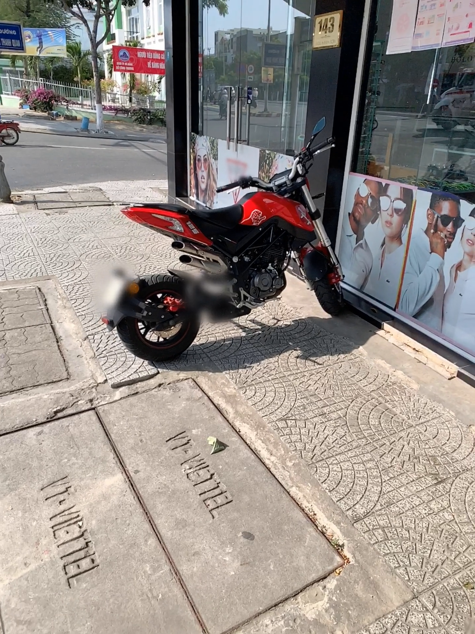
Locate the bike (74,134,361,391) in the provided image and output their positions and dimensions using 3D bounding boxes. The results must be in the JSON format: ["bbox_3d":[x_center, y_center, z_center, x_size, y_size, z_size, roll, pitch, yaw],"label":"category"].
[{"bbox_3d":[-0.017,-0.605,3.441,0.833,1.216,2.126,22,30,38],"label":"bike"}]
